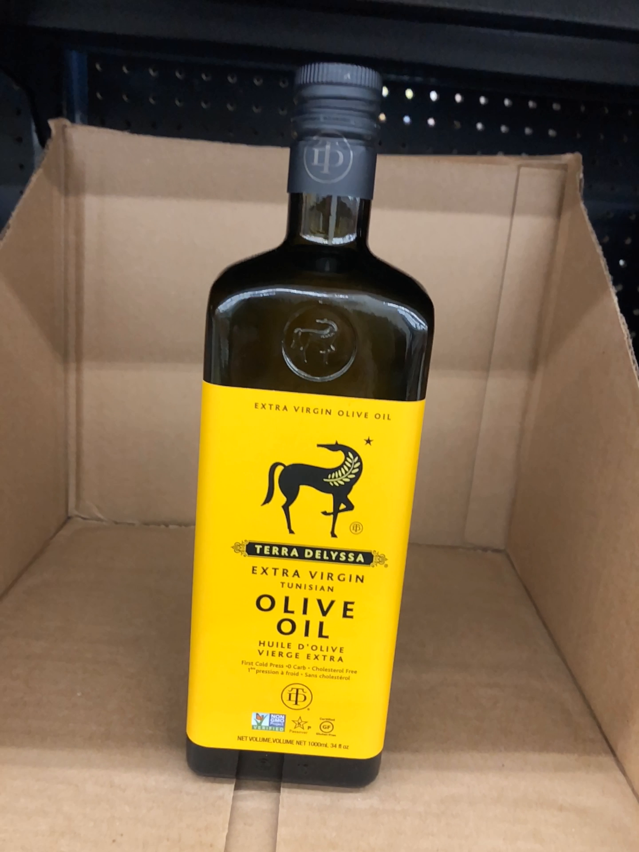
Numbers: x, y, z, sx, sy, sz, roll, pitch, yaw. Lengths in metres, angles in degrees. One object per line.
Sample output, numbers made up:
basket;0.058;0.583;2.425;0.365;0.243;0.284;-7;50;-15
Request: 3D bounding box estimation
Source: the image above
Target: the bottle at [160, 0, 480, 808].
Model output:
bottle;-0.009;0.002;0.290;0.090;0.288;0.091;4;18;-1
